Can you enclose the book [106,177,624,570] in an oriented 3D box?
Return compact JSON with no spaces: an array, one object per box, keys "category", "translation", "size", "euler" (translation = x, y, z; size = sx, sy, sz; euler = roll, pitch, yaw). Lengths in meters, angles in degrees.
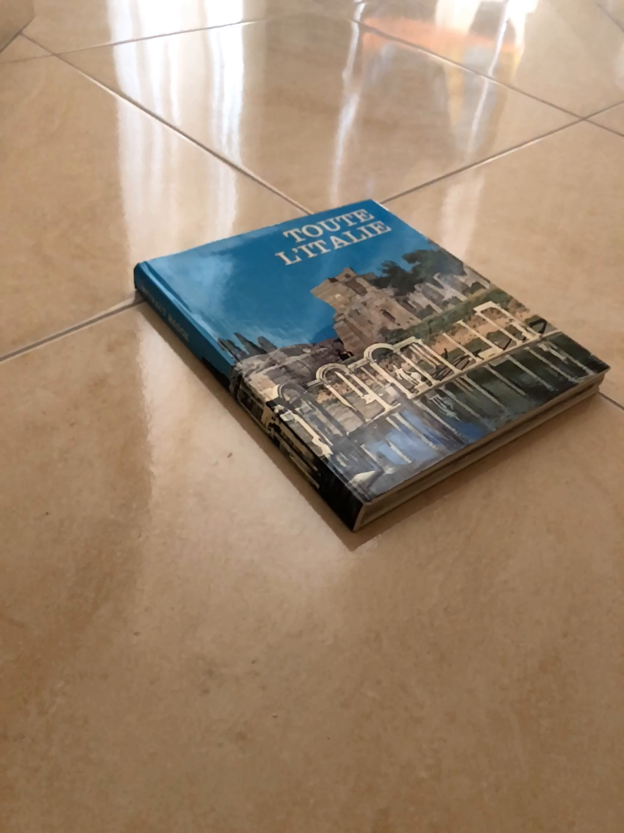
[{"category":"book","translation":[0.030,-0.065,0.503],"size":[0.241,0.050,0.290],"euler":[-25,54,-30]}]
